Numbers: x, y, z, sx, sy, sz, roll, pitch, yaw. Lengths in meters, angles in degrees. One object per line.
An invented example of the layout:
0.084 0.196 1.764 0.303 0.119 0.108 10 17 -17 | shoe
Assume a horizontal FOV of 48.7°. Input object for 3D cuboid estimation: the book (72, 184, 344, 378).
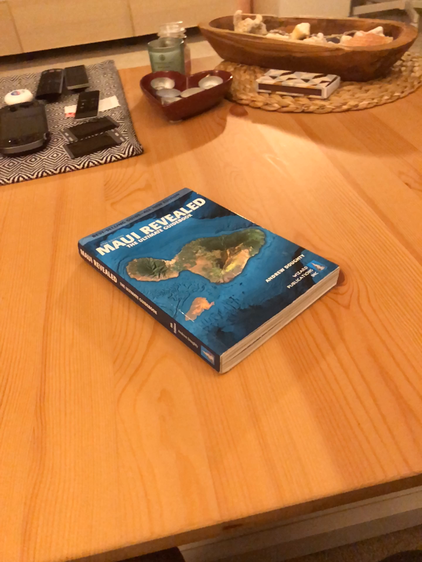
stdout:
-0.008 -0.018 0.422 0.146 0.020 0.201 -32 49 -30 | book
